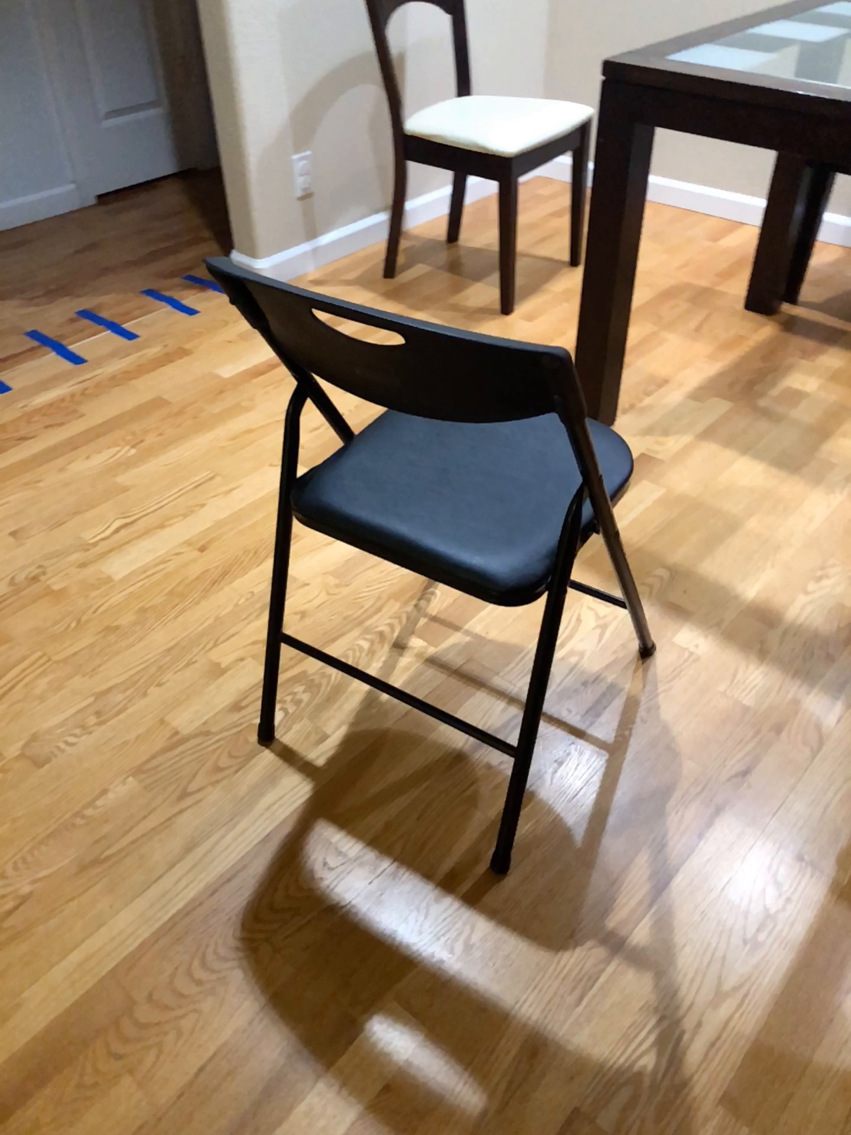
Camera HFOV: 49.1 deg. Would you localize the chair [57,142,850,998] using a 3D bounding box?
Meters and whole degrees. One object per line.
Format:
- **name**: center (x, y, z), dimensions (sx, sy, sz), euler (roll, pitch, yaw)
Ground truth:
- **chair**: center (0.091, -0.063, 1.185), dimensions (0.611, 0.656, 0.683), euler (25, 46, 28)
